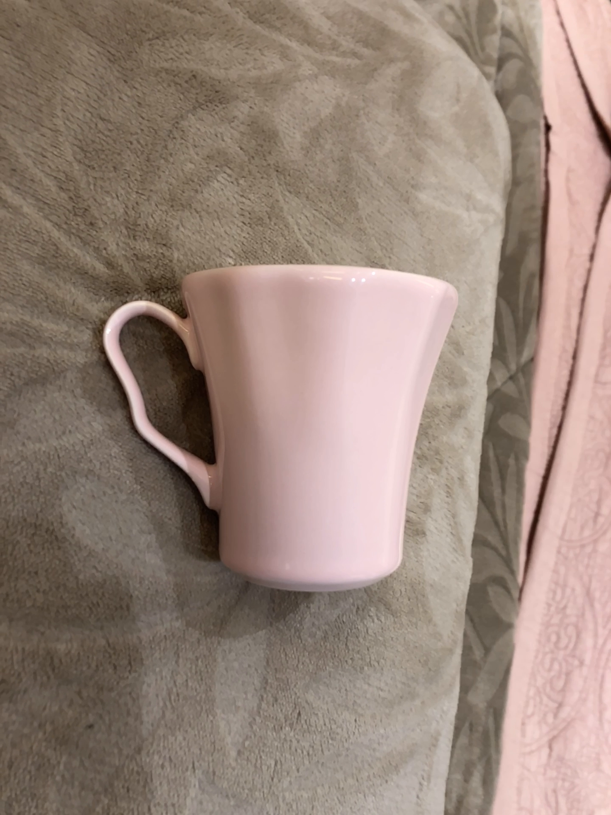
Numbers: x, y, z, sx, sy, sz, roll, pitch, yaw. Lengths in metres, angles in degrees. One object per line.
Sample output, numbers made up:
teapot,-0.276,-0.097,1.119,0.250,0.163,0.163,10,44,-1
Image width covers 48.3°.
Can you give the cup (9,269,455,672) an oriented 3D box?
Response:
cup,-0.017,0.013,0.190,0.100,0.070,0.090,-1,90,-3
